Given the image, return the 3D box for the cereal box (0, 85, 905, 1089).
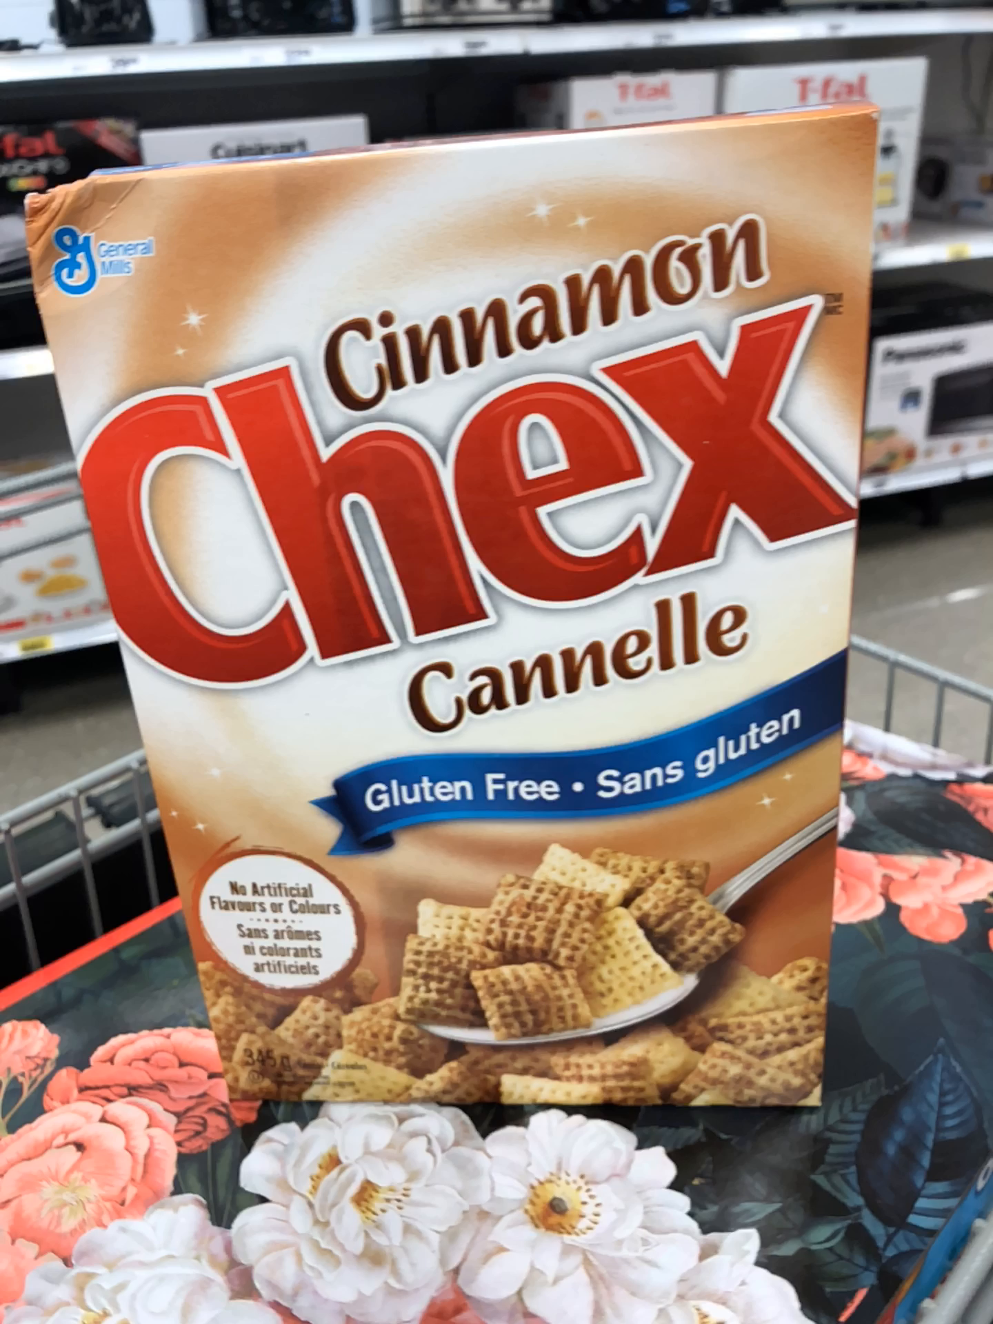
[{"bbox_3d":[-0.011,-0.007,0.307,0.200,0.259,0.060,-1,22,3],"label":"cereal box"}]
